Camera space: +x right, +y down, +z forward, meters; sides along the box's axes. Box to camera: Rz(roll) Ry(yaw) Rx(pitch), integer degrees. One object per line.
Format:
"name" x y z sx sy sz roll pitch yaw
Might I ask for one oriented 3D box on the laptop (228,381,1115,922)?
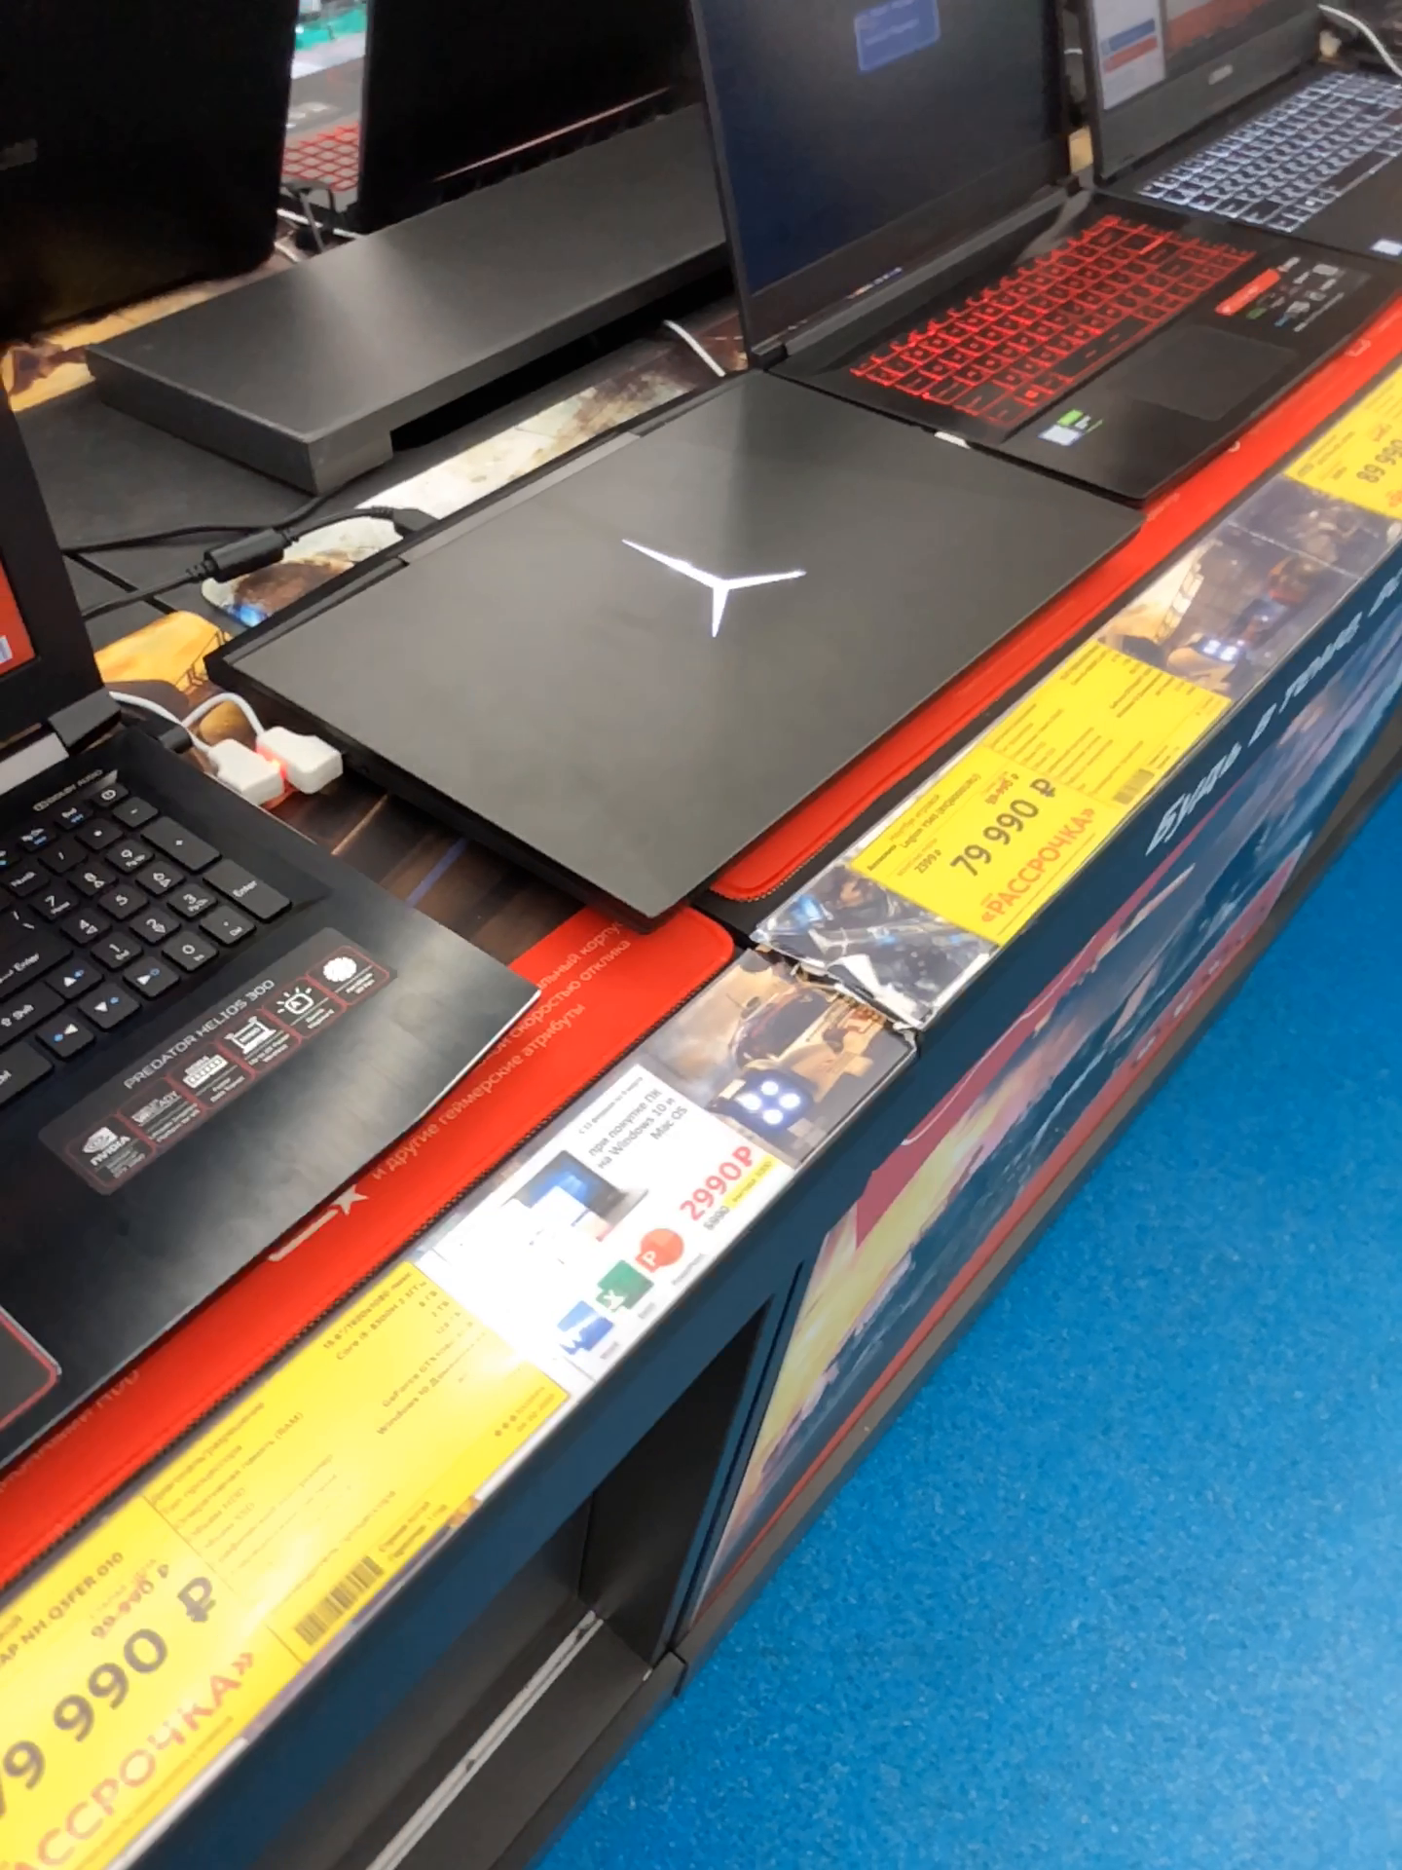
"laptop" -0.001 -0.153 0.695 0.227 0.007 0.344 30 53 27
